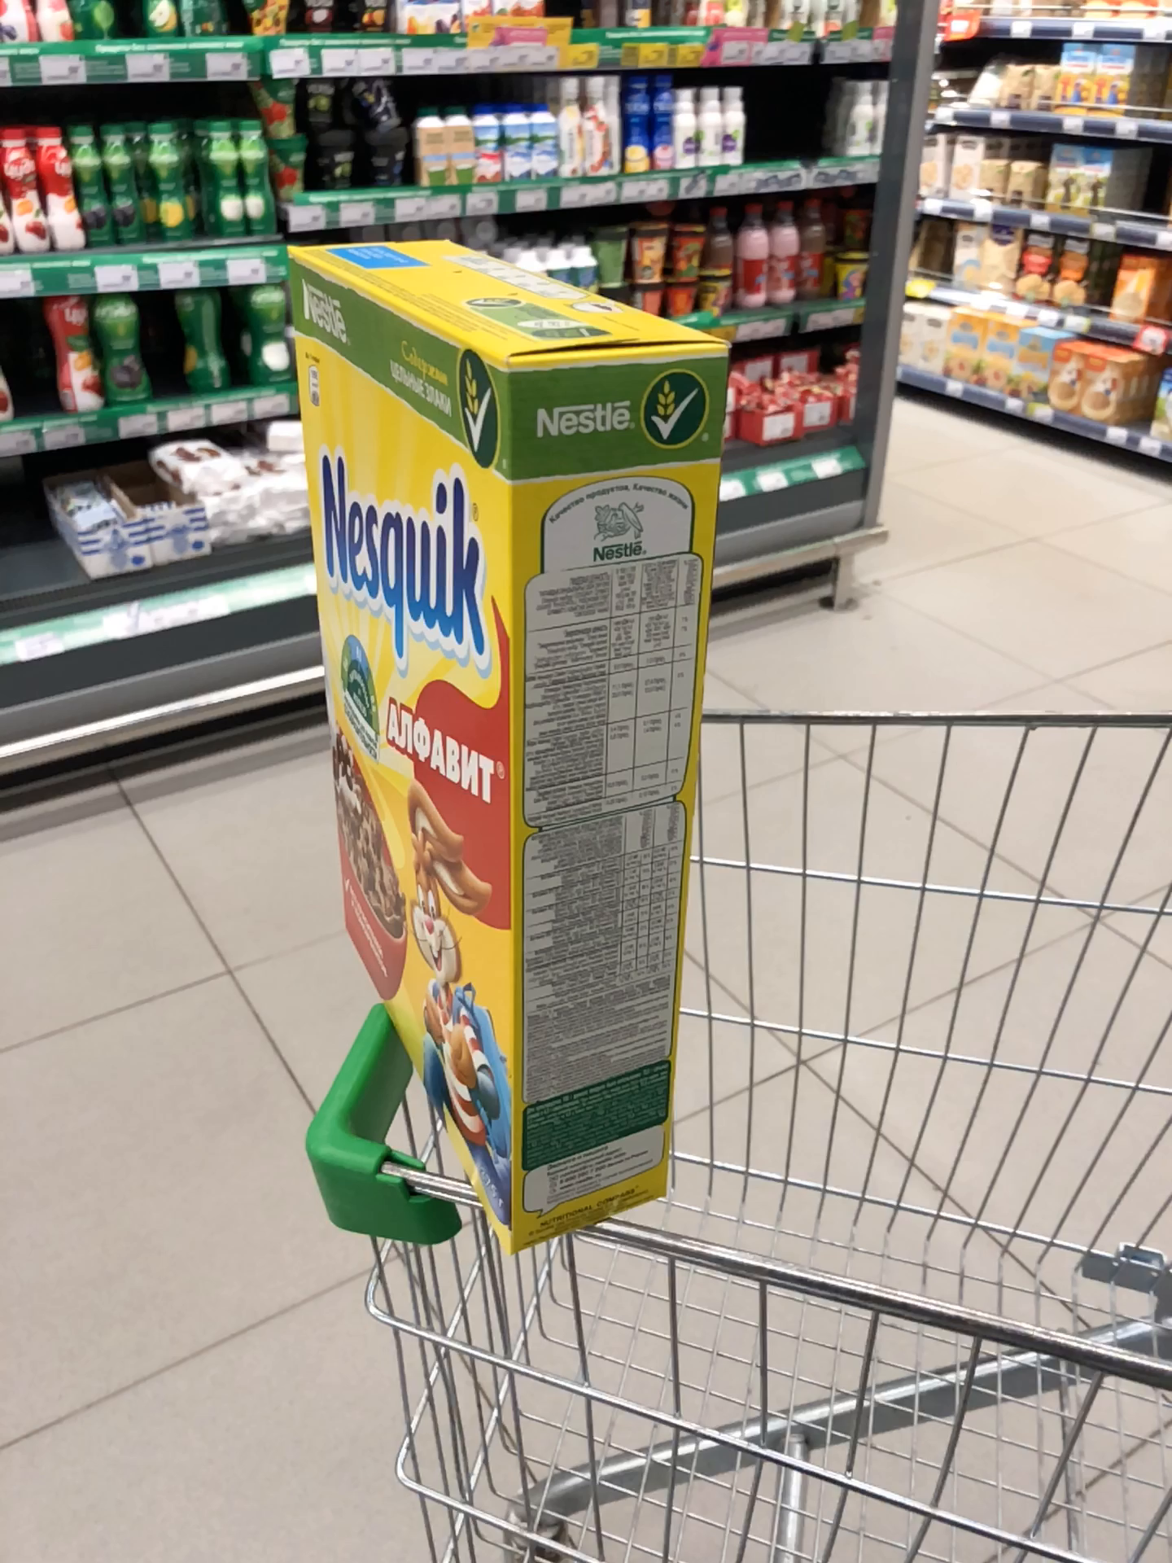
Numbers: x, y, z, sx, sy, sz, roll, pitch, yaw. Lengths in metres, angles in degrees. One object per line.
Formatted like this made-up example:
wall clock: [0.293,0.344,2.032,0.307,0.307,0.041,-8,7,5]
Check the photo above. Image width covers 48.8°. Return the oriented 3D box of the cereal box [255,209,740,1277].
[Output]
cereal box: [-0.041,-0.020,0.427,0.060,0.288,0.201,-12,33,-24]
